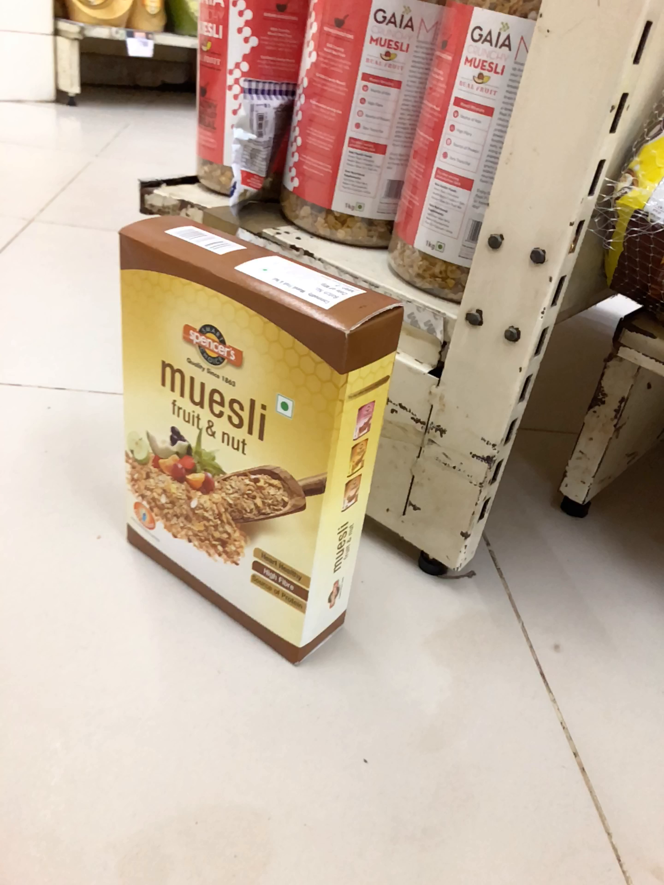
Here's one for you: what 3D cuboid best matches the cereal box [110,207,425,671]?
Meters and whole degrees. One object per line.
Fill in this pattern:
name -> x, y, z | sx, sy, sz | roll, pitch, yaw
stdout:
cereal box -> -0.059, -0.005, 0.480 | 0.190, 0.238, 0.060 | 28, 34, 29
